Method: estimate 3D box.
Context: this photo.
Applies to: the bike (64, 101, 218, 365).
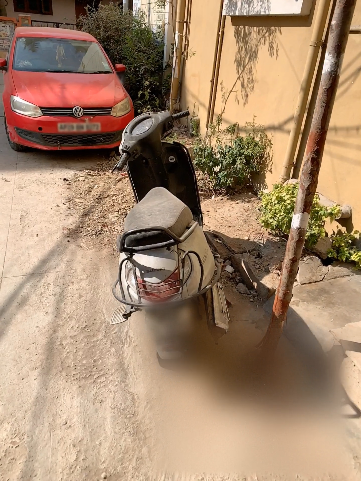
[{"bbox_3d":[-0.187,-0.191,2.220,0.549,1.000,1.516,3,28,-3],"label":"bike"}]
